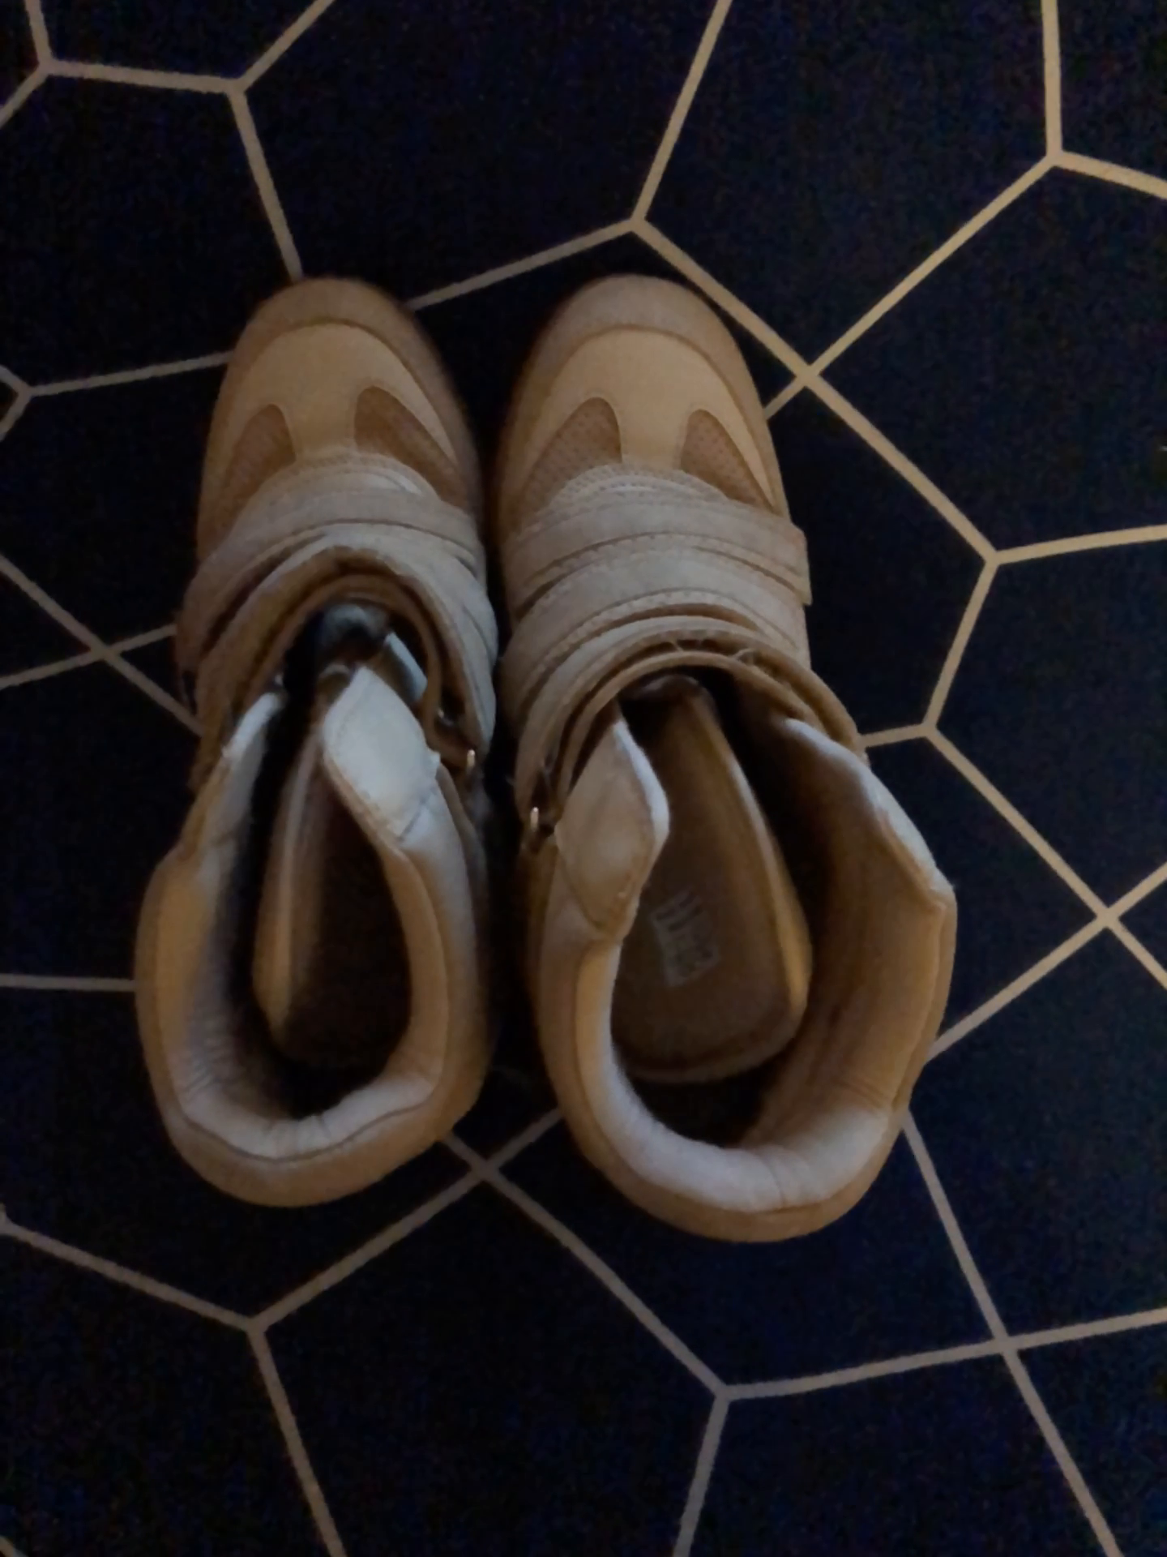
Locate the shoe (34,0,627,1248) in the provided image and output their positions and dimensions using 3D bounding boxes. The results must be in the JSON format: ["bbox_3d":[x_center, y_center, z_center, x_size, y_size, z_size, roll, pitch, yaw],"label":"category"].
[{"bbox_3d":[-0.057,-0.037,0.317,0.100,0.140,0.260,-5,79,-3],"label":"shoe"}]

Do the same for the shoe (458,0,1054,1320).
[{"bbox_3d":[0.025,-0.034,0.313,0.100,0.130,0.280,-1,79,-3],"label":"shoe"}]
